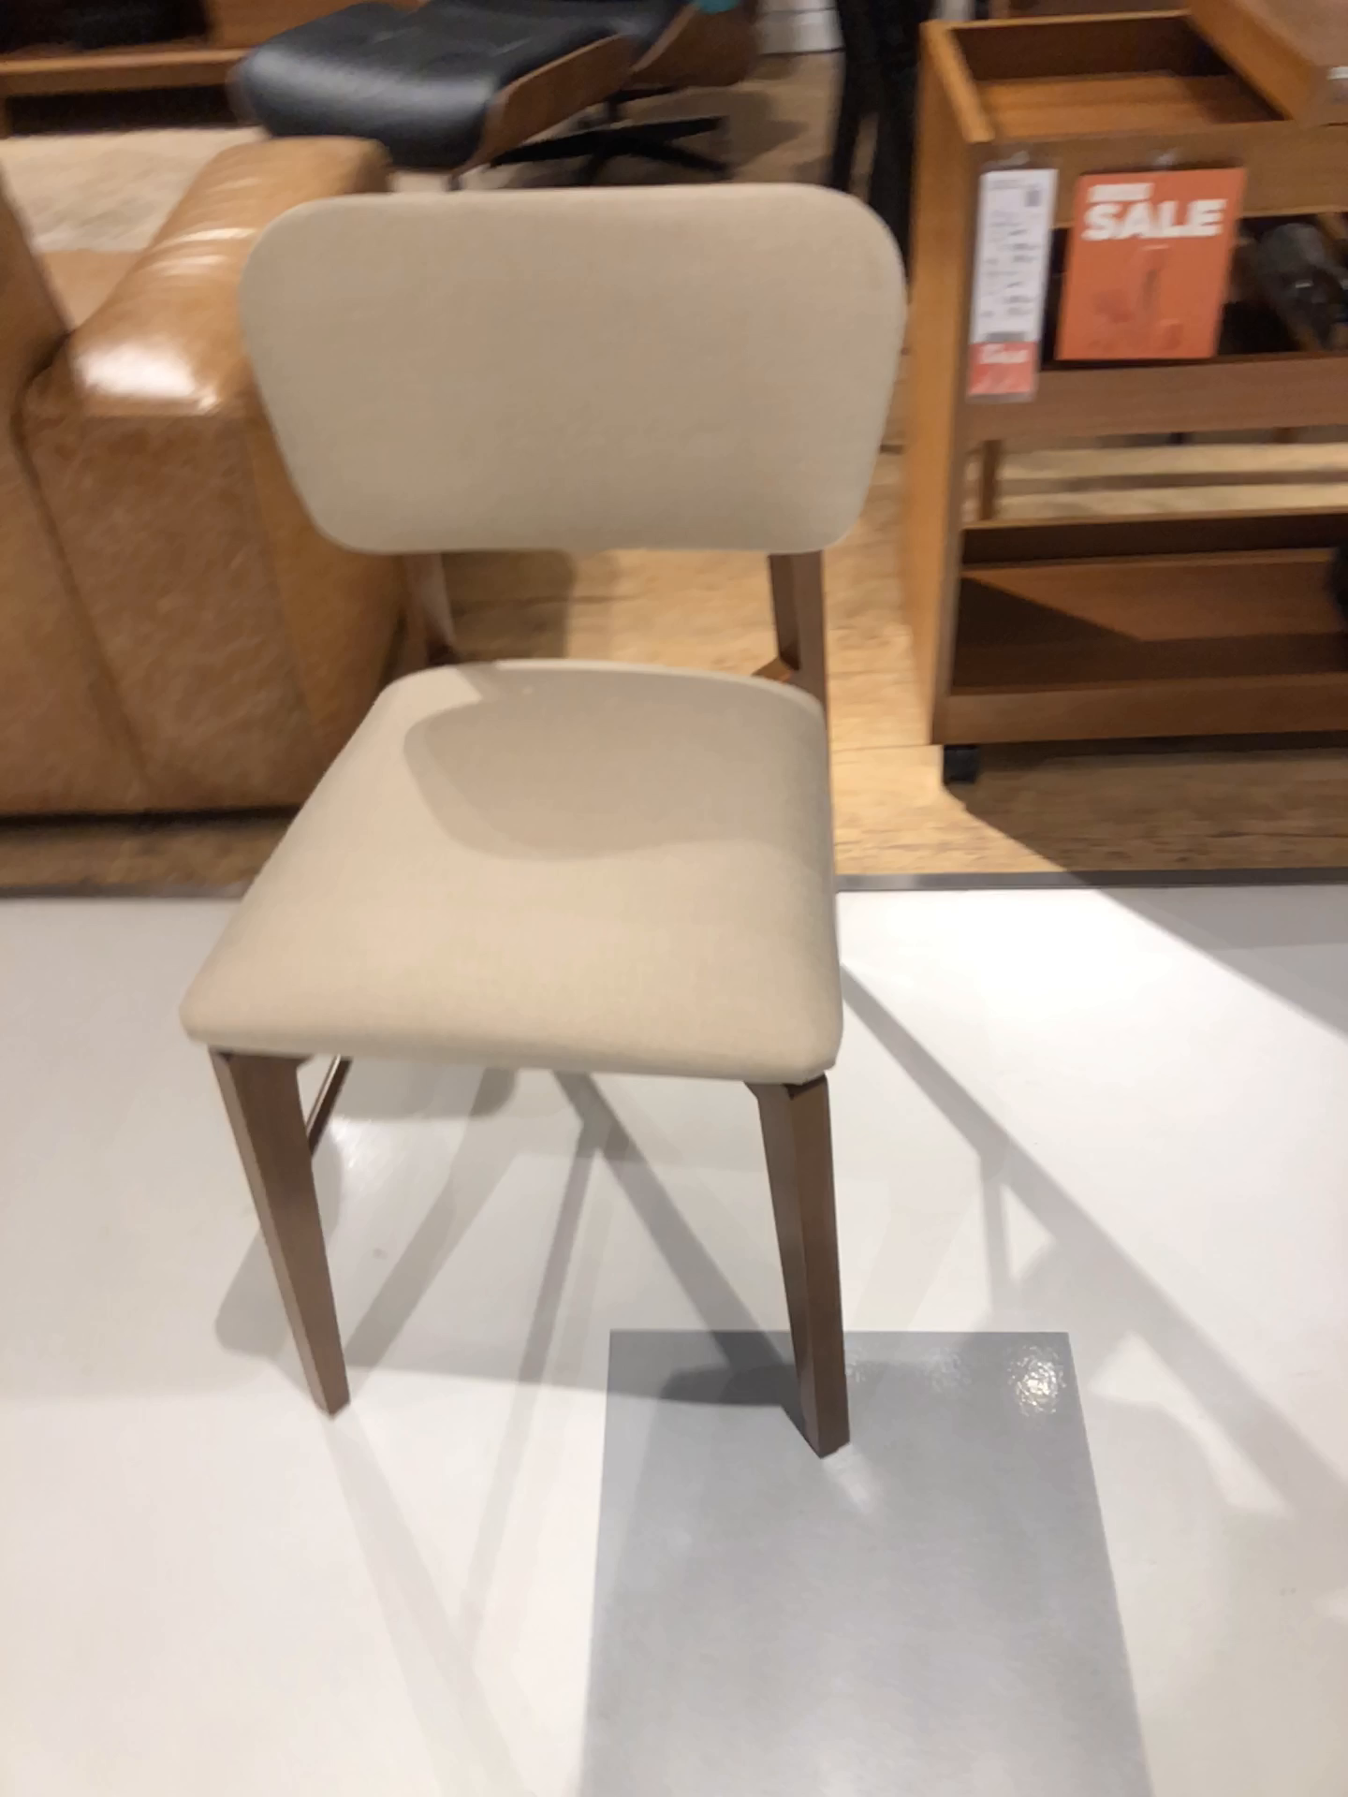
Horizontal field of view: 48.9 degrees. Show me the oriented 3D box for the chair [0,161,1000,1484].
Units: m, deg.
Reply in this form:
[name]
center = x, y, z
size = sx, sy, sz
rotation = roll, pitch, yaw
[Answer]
[chair]
center = -0.055, -0.046, 1.121
size = 0.510, 0.764, 0.594
rotation = 2, 43, 8
